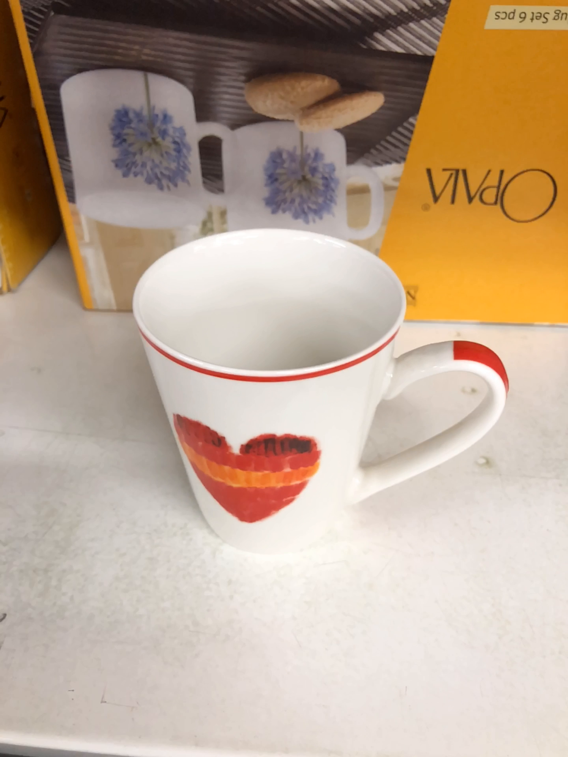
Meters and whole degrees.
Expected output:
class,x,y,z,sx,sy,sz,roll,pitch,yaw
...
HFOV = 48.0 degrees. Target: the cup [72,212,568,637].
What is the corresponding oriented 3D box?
class,x,y,z,sx,sy,sz,roll,pitch,yaw
cup,0.013,0.013,0.212,0.120,0.099,0.081,6,39,7
